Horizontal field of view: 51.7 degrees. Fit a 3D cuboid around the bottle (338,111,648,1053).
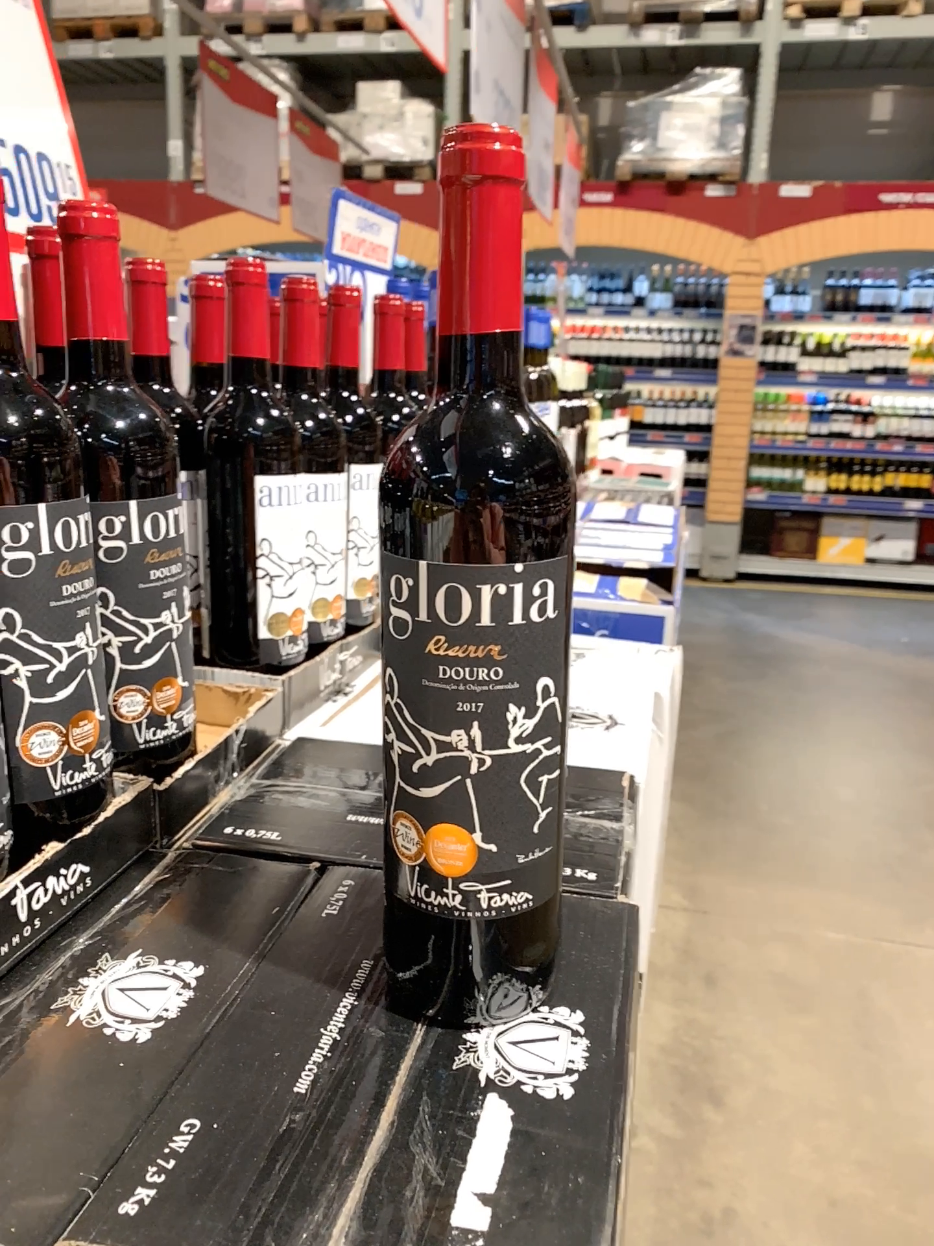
[{"bbox_3d":[0.003,-0.005,0.363,0.090,0.319,0.080,2,14,1],"label":"bottle"}]
